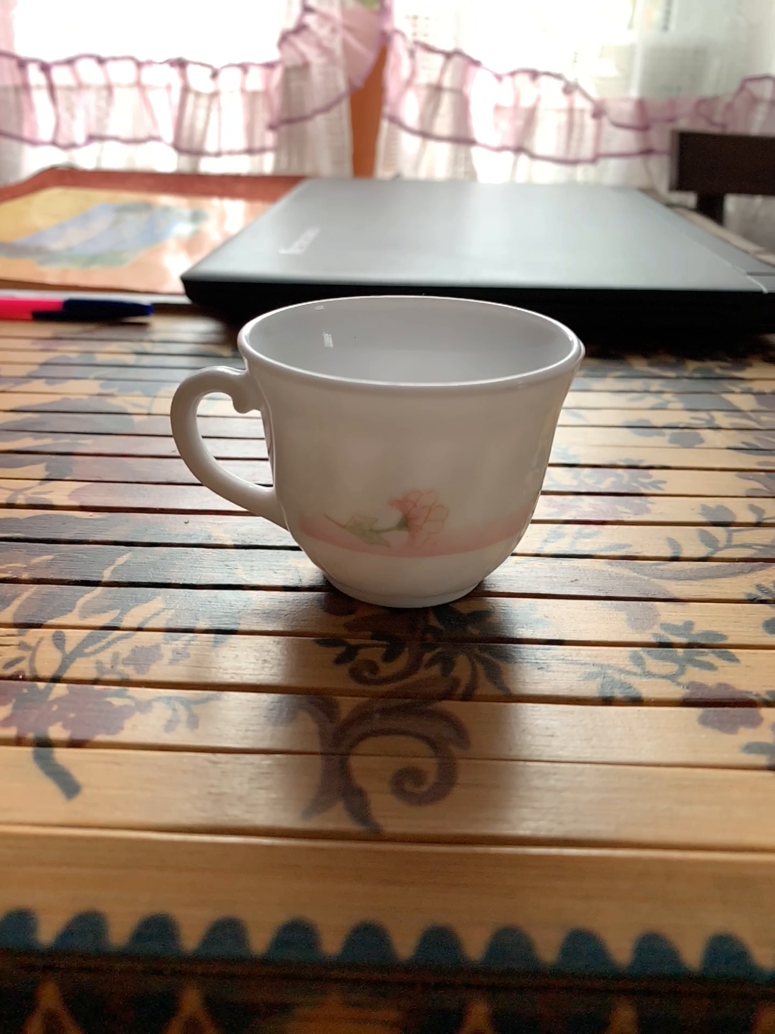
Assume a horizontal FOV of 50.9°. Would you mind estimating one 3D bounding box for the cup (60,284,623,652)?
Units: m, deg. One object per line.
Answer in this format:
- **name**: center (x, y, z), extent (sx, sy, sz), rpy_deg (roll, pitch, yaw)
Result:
- **cup**: center (-0.004, -0.015, 0.153), extent (0.080, 0.039, 0.068), rpy_deg (5, 27, 6)
